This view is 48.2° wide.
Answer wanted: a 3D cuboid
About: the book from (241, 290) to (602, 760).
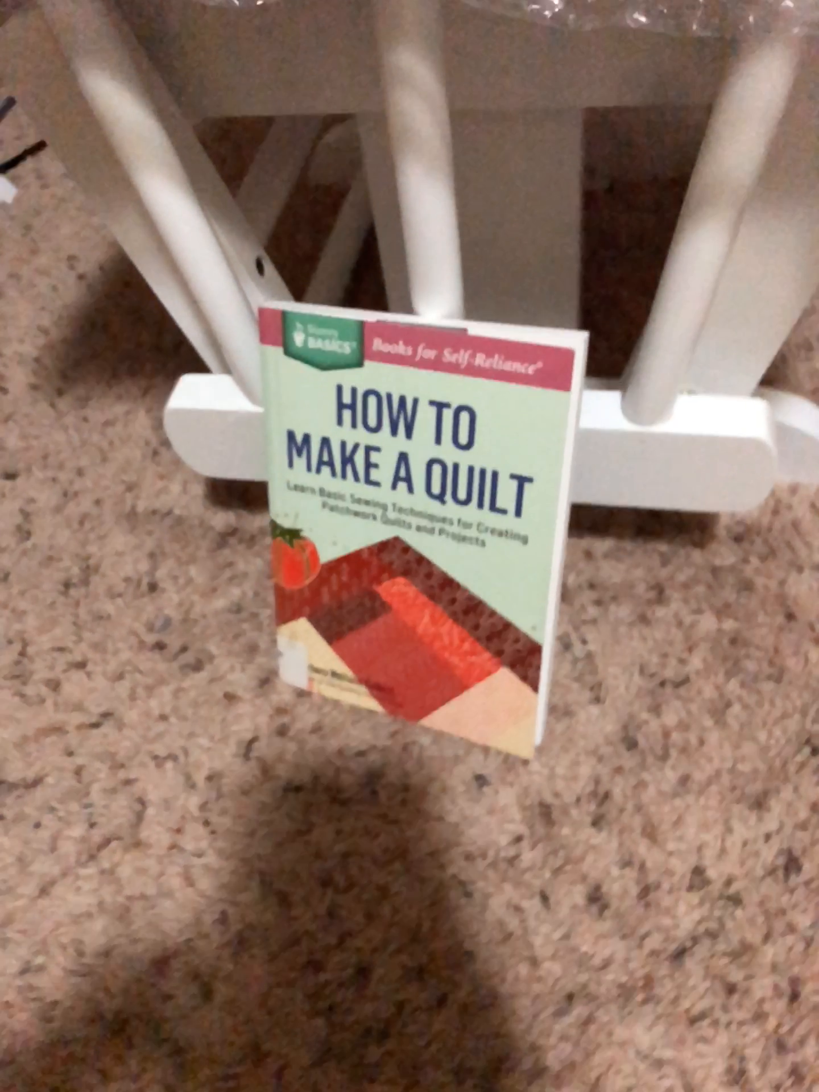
[{"bbox_3d":[-0.002,-0.006,0.362,0.130,0.168,0.020,13,28,20],"label":"book"}]
